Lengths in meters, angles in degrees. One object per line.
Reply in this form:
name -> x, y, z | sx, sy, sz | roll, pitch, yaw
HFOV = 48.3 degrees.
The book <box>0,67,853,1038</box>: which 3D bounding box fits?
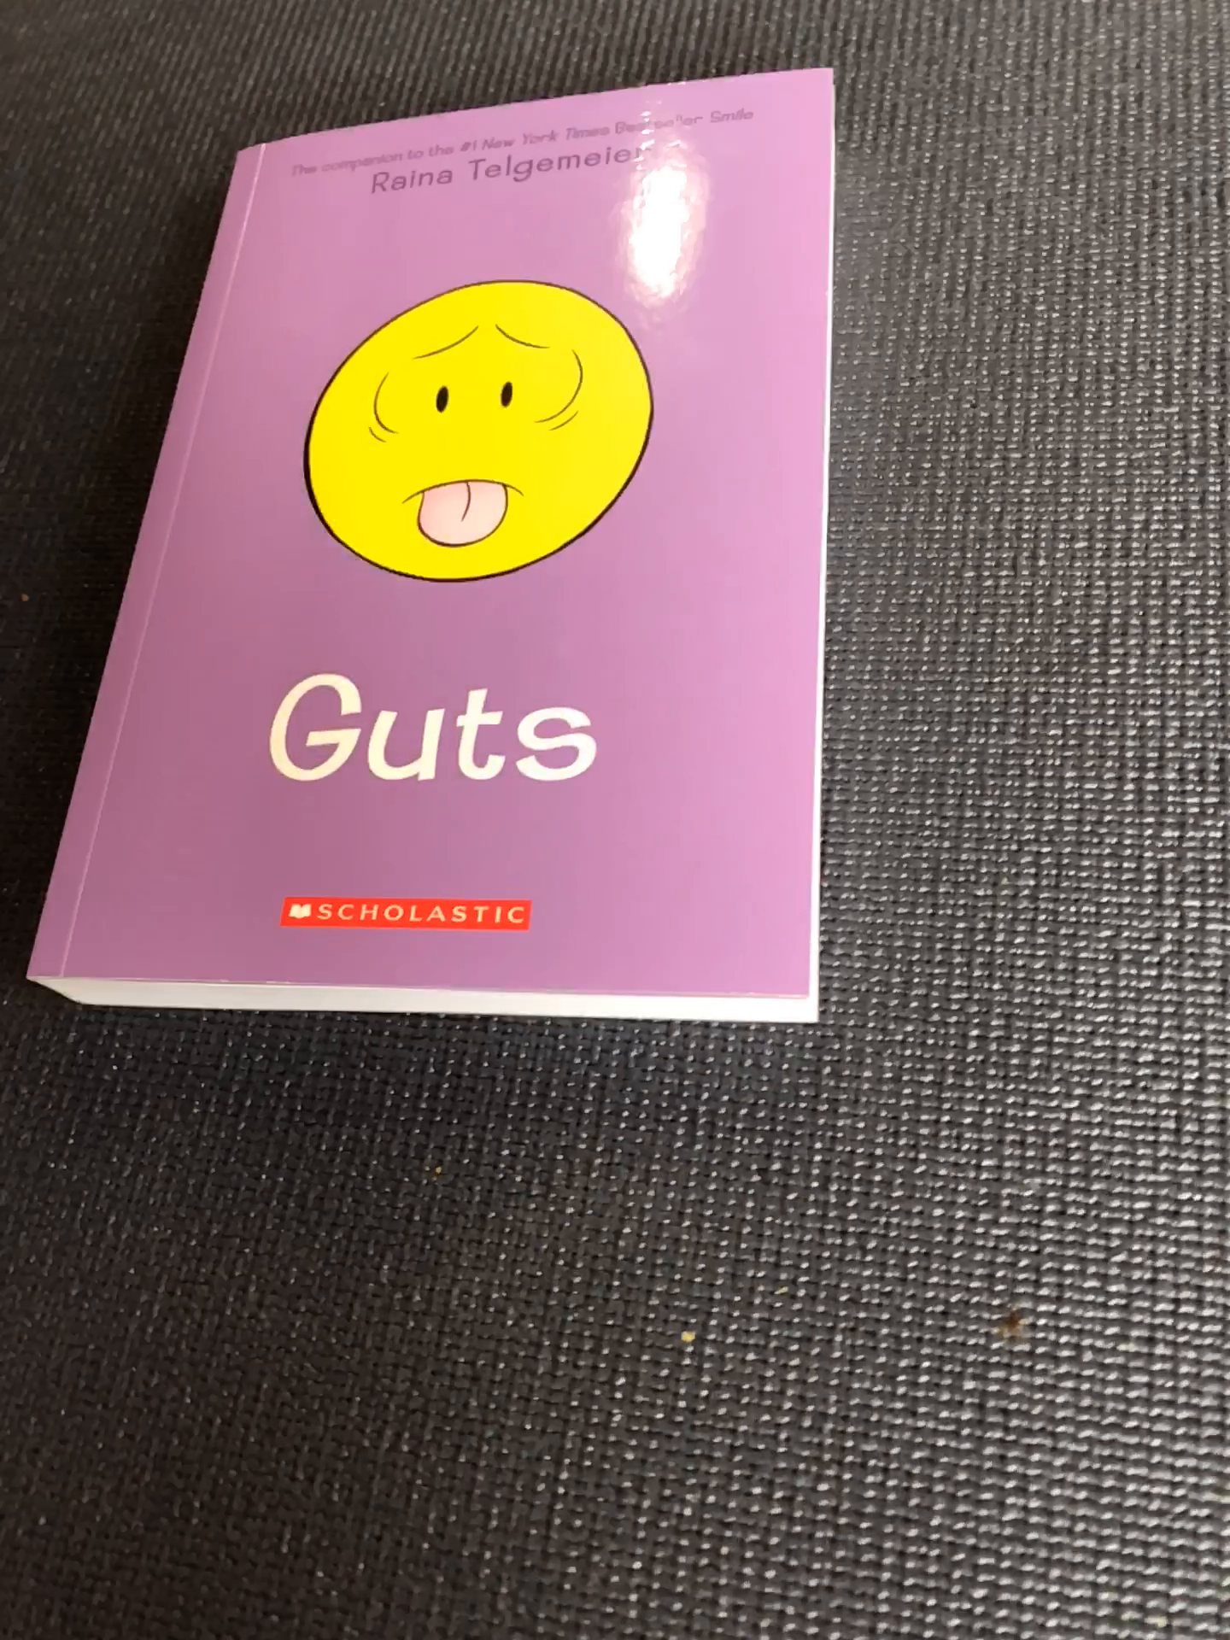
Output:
book -> -0.027, -0.061, 0.274 | 0.143, 0.024, 0.202 | 0, 66, 13
